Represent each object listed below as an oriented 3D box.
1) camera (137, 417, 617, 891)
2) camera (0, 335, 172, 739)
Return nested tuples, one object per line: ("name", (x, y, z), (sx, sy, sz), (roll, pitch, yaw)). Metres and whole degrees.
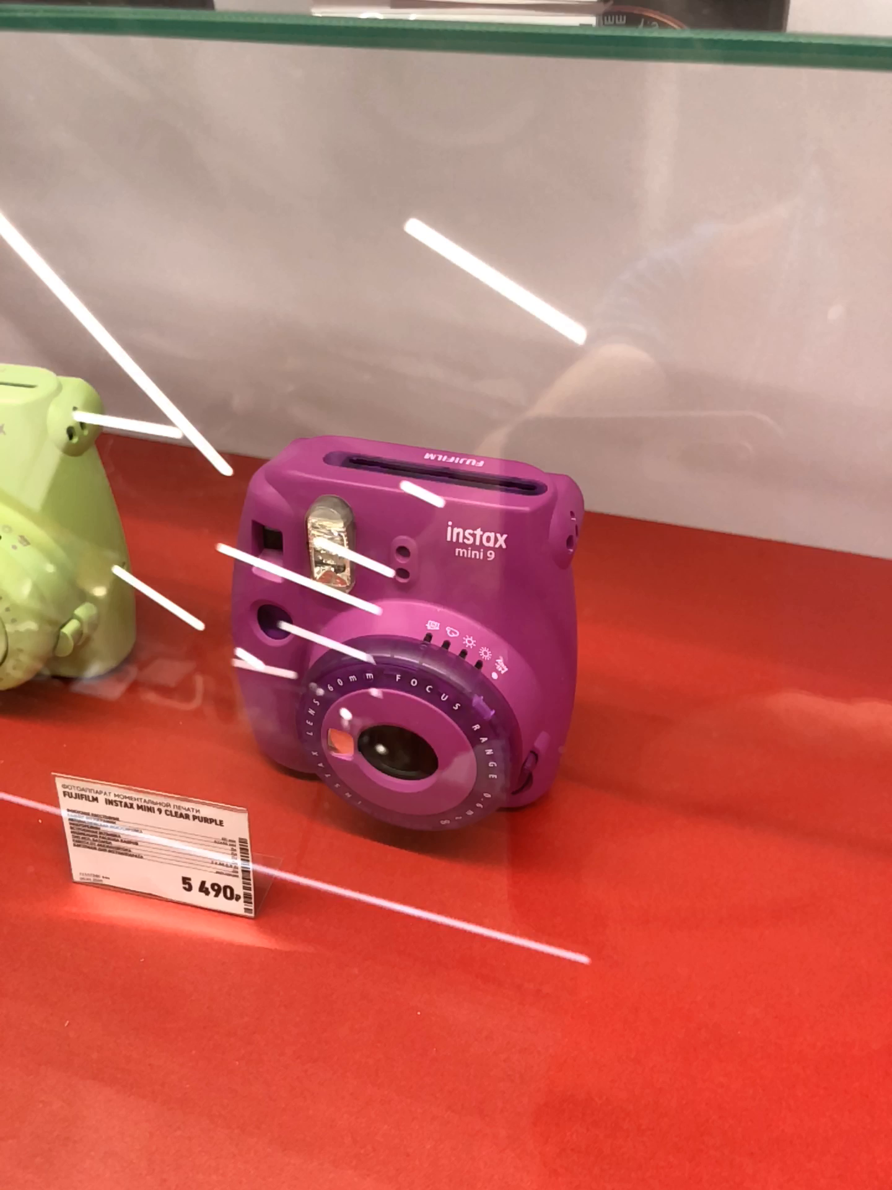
("camera", (-0.017, 0.015, 0.309), (0.117, 0.103, 0.073), (11, 35, 15))
("camera", (-0.193, -0.024, 0.381), (0.135, 0.118, 0.073), (8, 35, 10))
